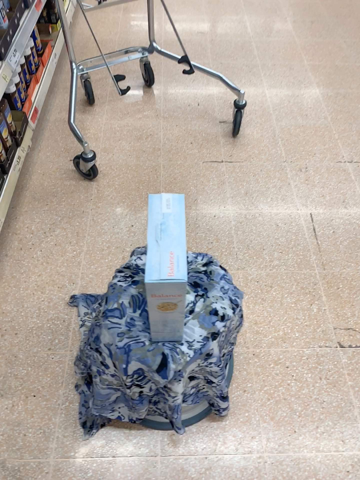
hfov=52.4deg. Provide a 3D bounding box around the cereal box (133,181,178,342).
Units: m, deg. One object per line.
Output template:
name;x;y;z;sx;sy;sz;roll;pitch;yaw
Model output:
cereal box;-0.042;0.056;0.743;0.070;0.278;0.212;0;54;-1
